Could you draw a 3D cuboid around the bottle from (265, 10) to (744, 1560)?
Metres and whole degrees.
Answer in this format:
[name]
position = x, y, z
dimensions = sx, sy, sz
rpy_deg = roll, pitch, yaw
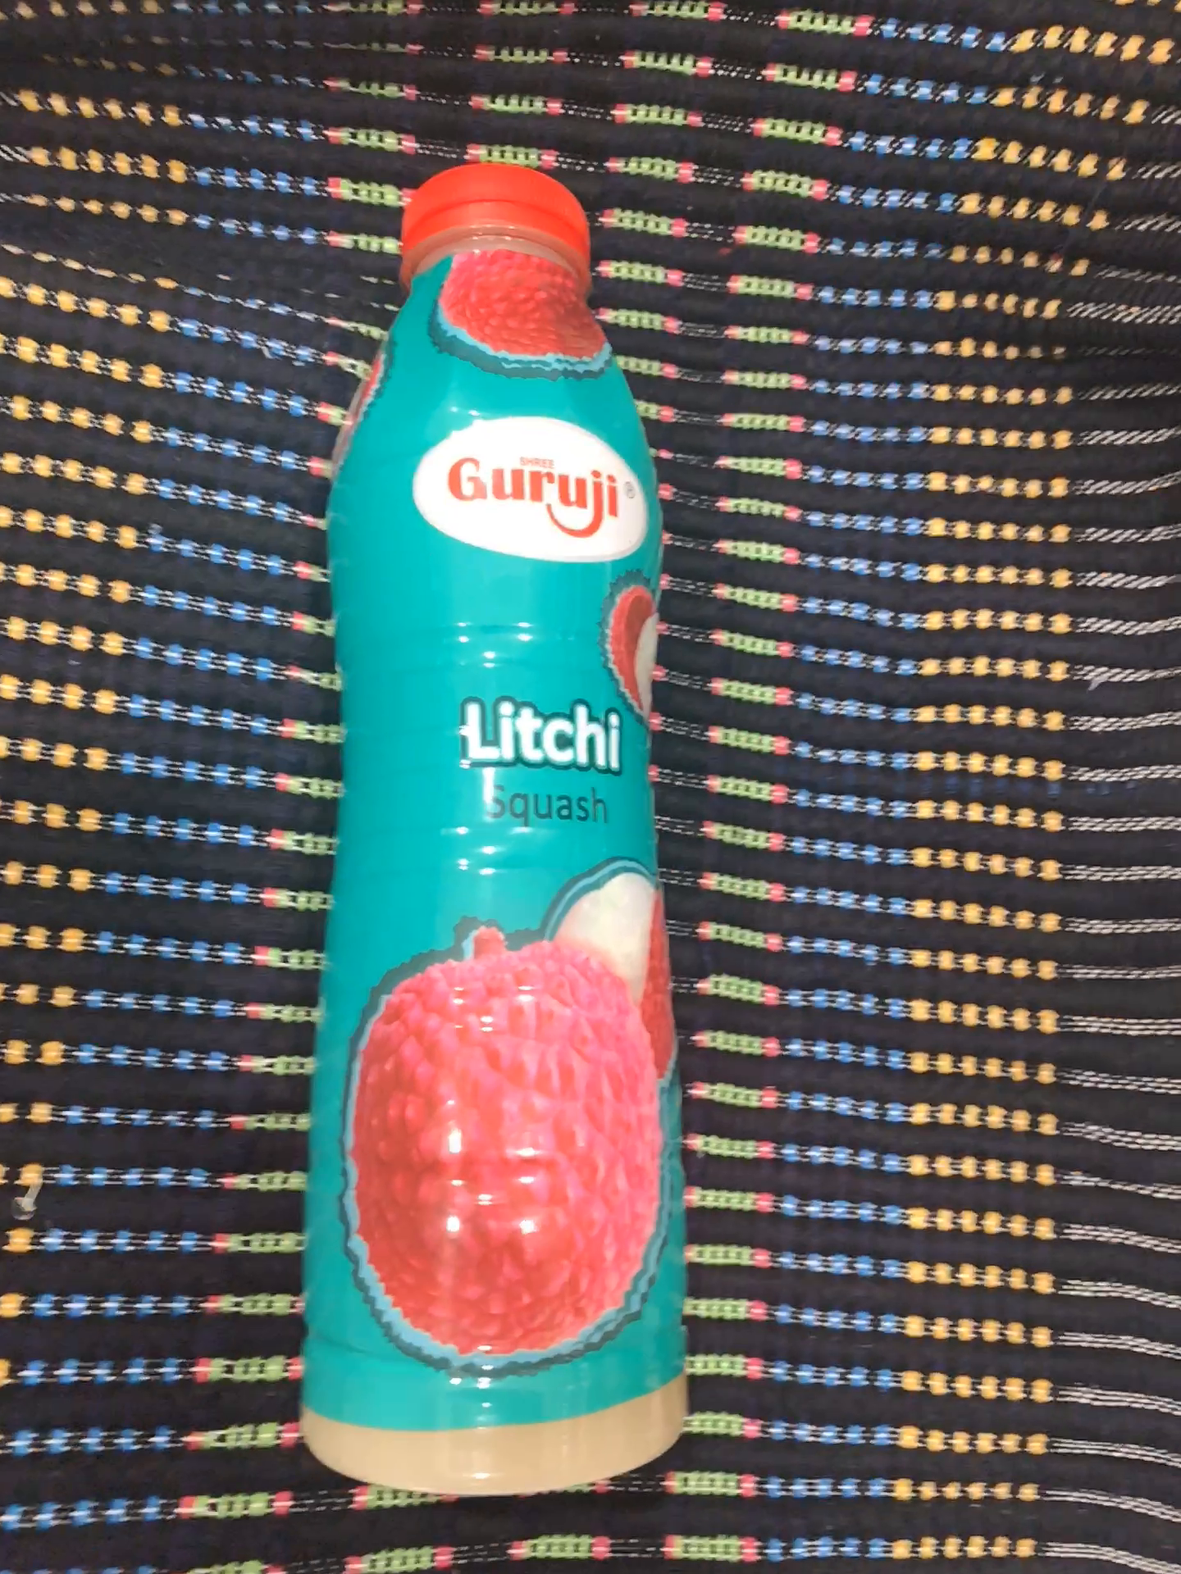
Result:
[bottle]
position = -0.028, -0.011, 0.263
dimensions = 0.070, 0.080, 0.280
rpy_deg = 2, 75, -20
